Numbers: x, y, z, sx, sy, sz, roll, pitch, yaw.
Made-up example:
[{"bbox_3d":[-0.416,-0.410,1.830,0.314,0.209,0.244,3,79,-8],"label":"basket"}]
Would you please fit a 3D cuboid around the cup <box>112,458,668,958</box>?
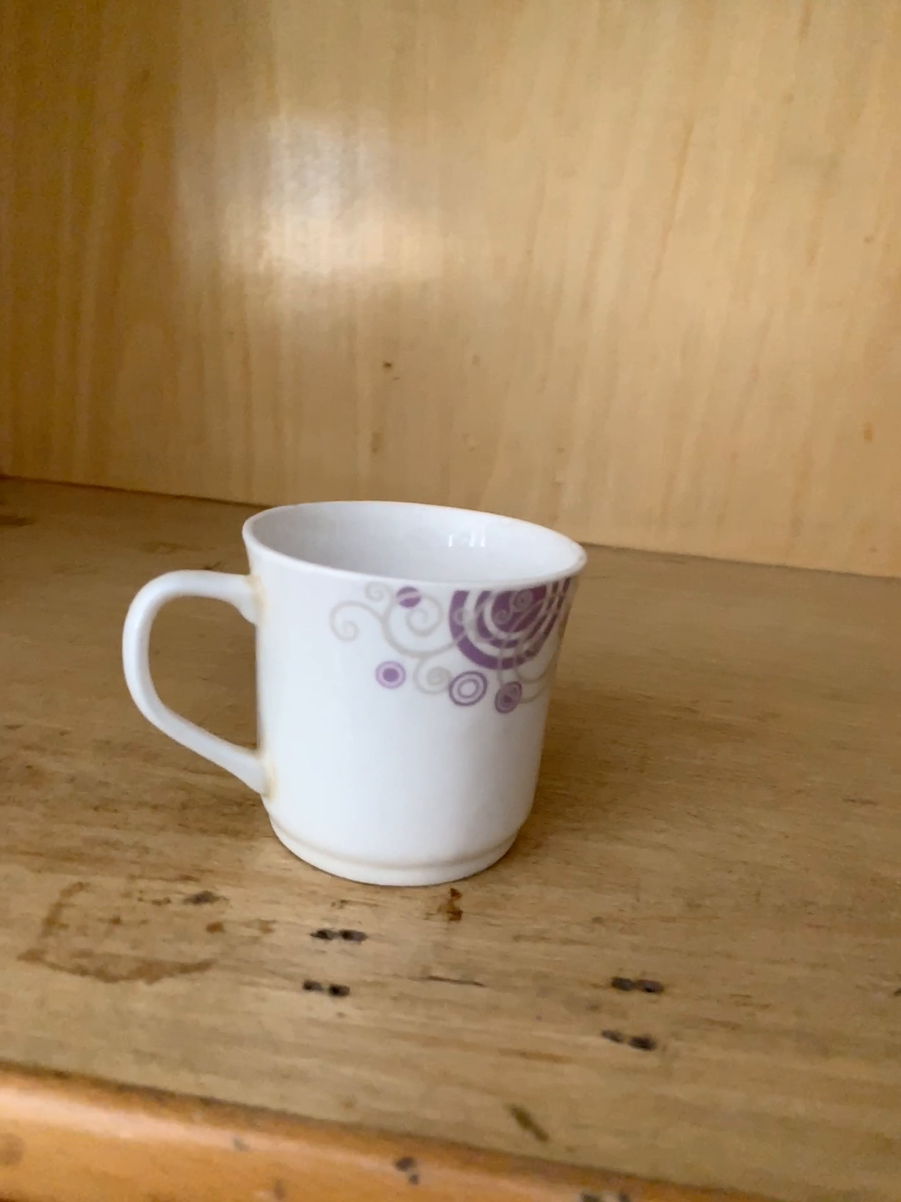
[{"bbox_3d":[-0.019,0.013,0.192,0.090,0.070,0.070,-2,17,-24],"label":"cup"}]
